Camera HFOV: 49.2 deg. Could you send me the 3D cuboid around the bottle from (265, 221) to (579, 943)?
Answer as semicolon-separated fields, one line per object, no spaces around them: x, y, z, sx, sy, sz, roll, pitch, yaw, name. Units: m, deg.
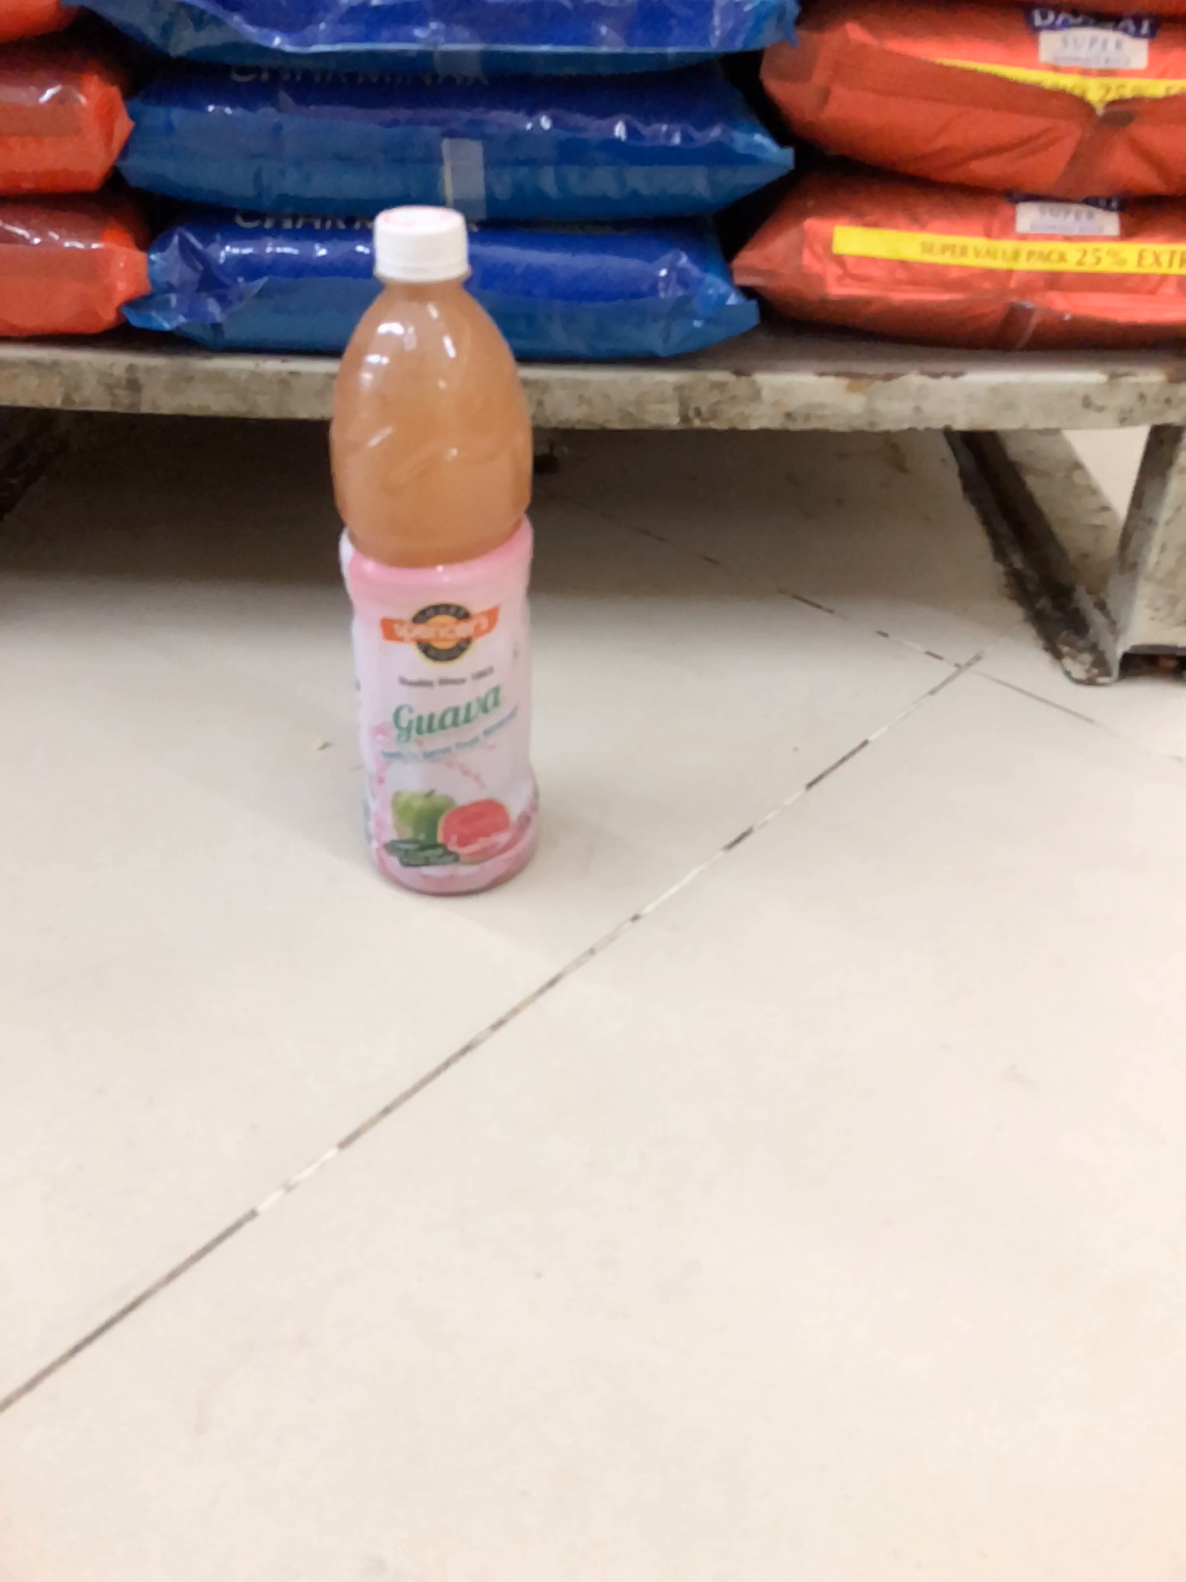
-0.062;-0.072;0.507;0.090;0.258;0.090;1;38;-1;bottle
